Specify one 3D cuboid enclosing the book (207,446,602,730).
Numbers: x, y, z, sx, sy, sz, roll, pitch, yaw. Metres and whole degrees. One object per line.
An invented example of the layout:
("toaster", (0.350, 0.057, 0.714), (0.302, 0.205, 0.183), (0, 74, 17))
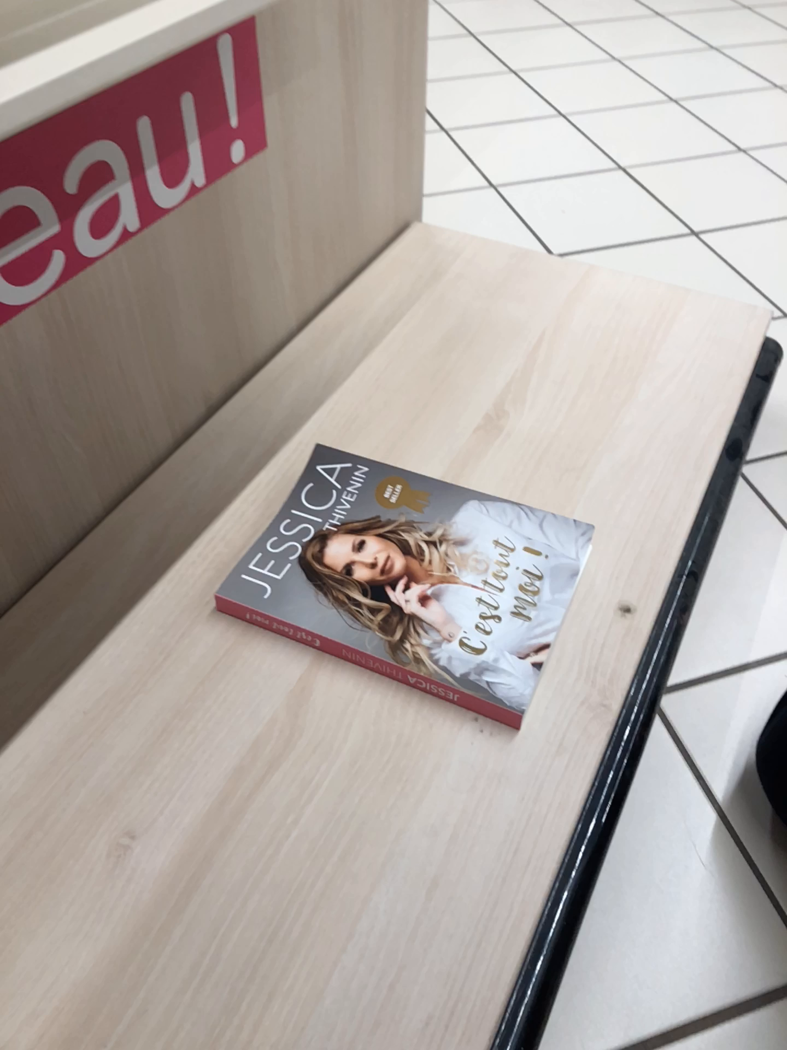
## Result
("book", (0.011, 0.029, 0.561), (0.212, 0.020, 0.147), (19, 49, 17))
